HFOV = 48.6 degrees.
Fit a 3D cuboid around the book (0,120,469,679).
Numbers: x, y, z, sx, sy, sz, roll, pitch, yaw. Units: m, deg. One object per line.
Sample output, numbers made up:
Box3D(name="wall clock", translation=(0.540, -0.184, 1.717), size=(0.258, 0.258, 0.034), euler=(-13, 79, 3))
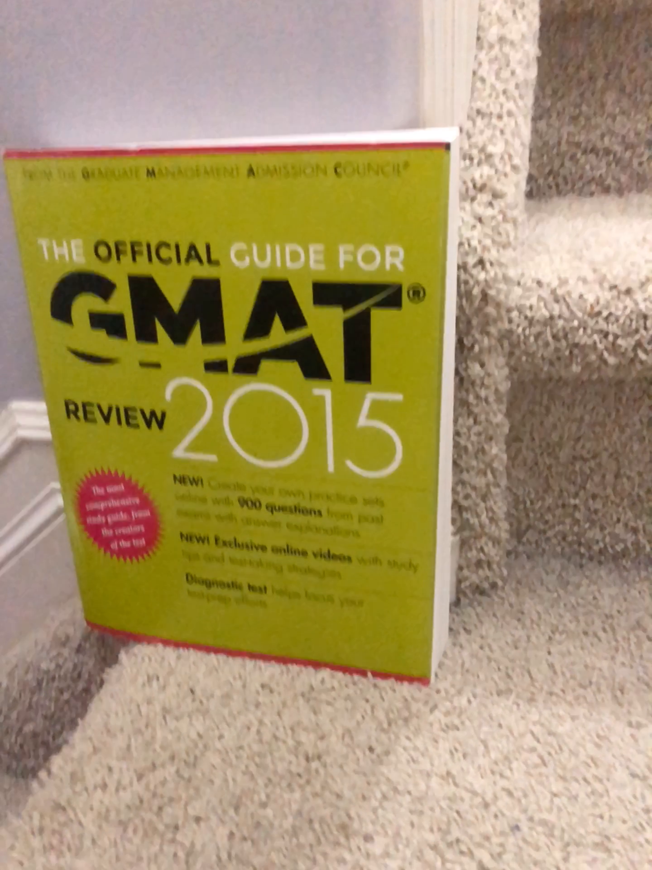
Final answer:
Box3D(name="book", translation=(-0.048, -0.012, 0.389), size=(0.236, 0.277, 0.040), euler=(3, 22, 16))
